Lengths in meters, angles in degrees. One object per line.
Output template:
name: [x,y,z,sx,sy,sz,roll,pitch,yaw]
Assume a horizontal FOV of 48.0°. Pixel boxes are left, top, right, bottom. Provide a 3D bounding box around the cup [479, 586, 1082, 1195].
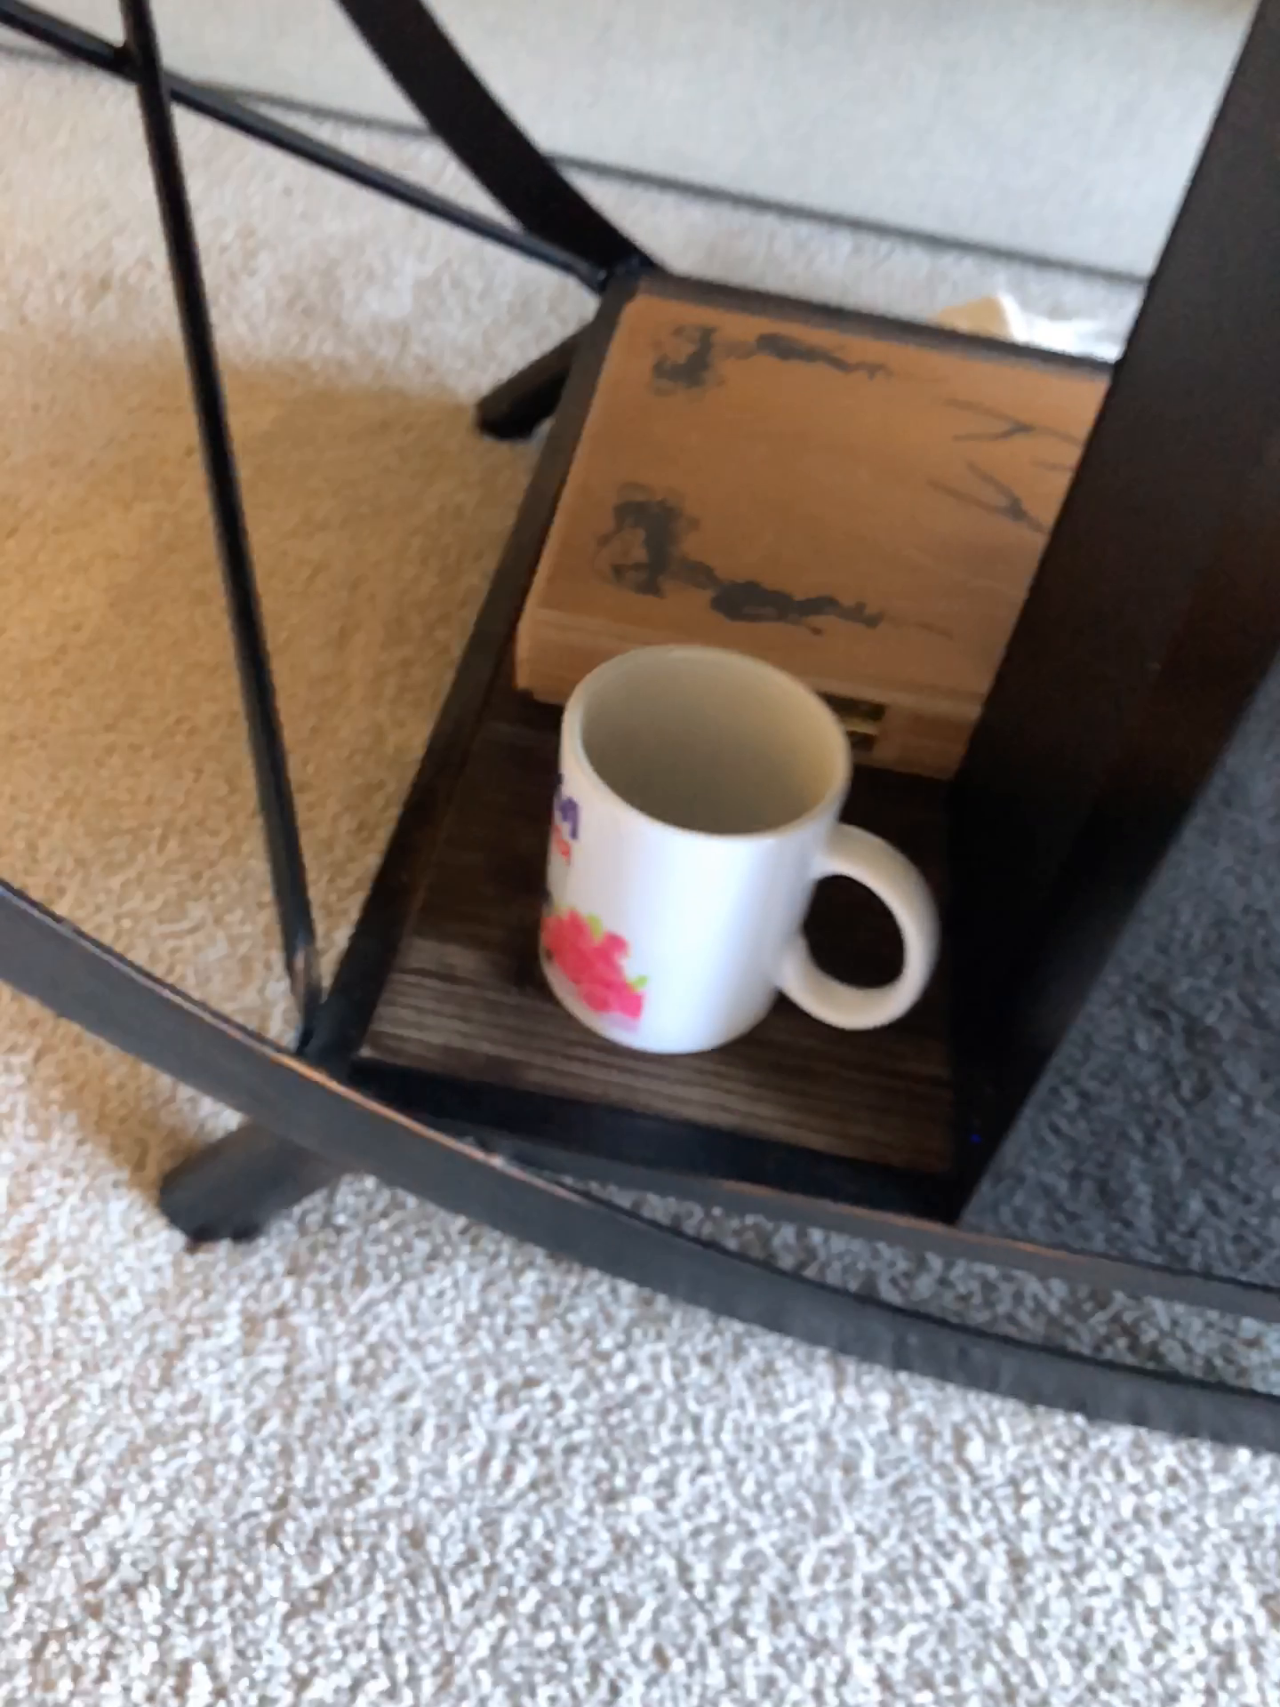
cup: [0.037,0.009,0.436,0.140,0.100,0.090,29,49,17]
